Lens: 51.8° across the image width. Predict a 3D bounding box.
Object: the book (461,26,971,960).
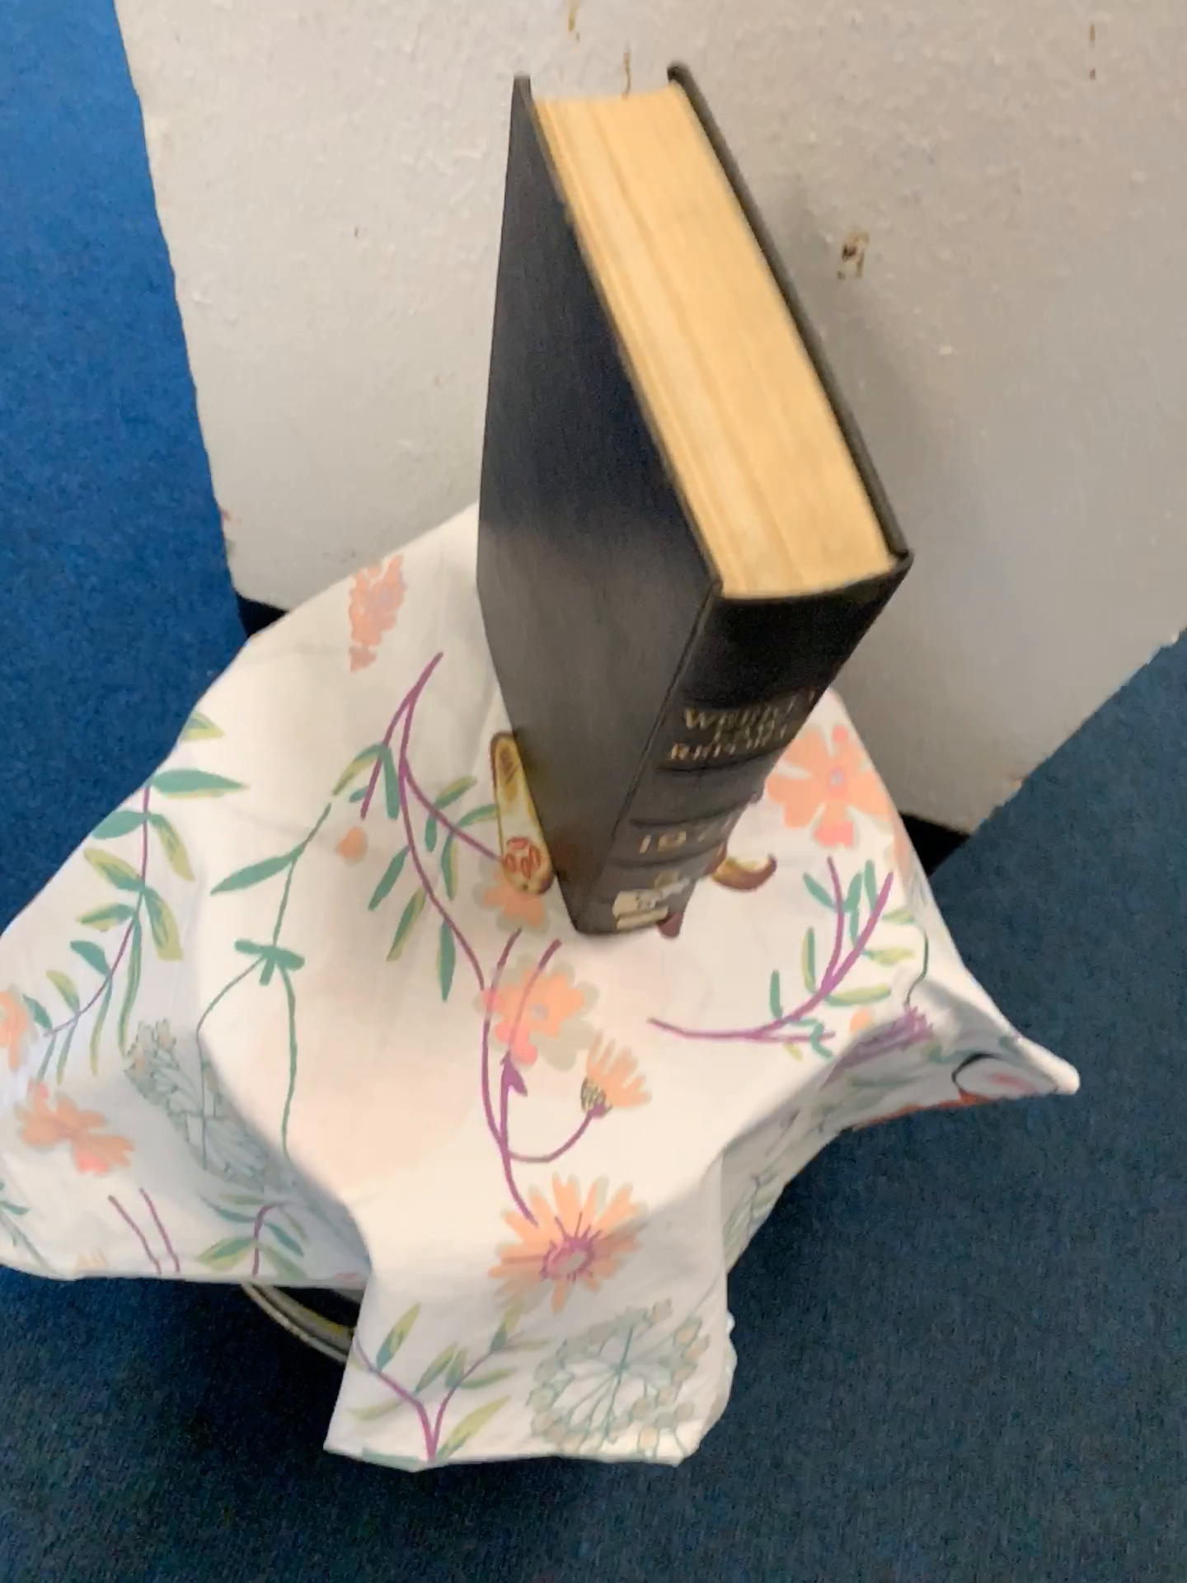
[{"bbox_3d":[0.010,-0.065,0.382,0.052,0.244,0.162,-13,68,-15],"label":"book"}]
